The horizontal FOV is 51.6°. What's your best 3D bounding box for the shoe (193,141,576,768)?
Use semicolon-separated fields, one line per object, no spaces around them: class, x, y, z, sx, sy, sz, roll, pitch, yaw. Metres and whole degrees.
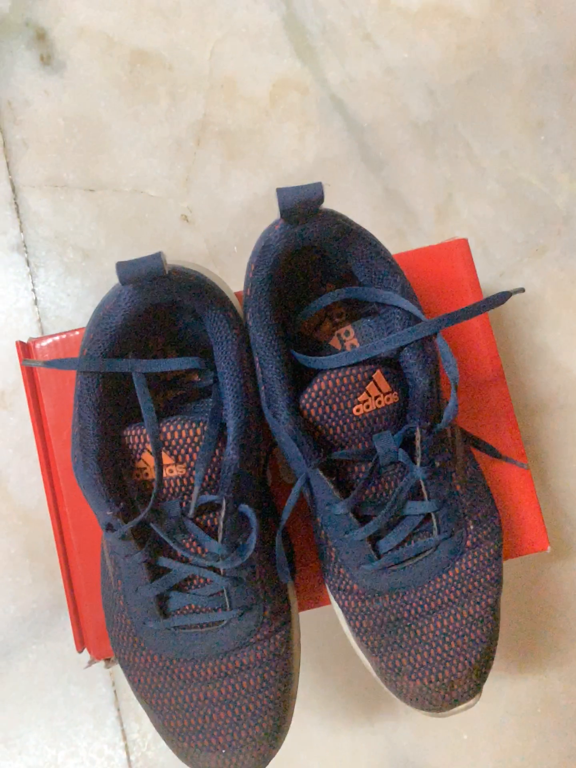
shoe;0.045;0.039;0.304;0.100;0.080;0.280;-17;87;-1

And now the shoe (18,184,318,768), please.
shoe;-0.059;0.060;0.335;0.100;0.100;0.300;-9;87;-1
